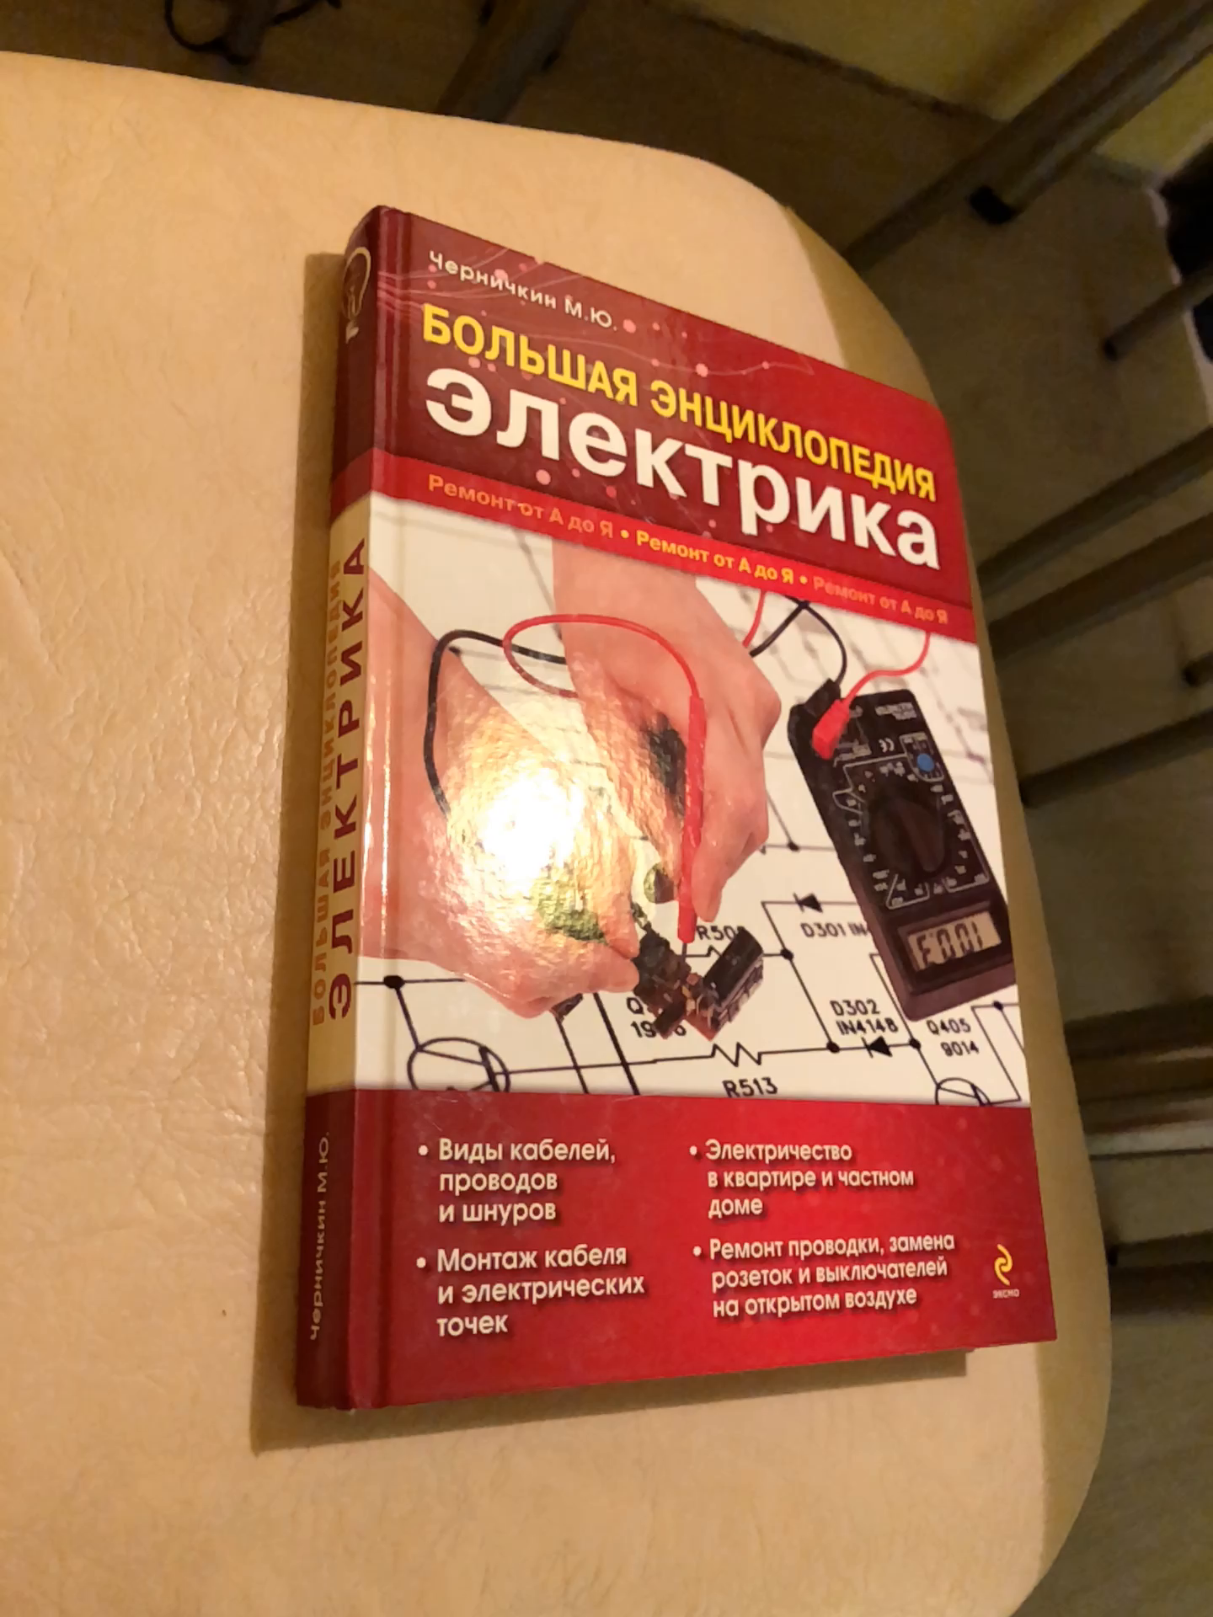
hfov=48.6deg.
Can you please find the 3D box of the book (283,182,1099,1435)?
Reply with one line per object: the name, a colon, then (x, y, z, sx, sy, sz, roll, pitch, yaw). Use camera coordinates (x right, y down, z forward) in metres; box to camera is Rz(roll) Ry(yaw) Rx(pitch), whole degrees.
book: (0.023, -0.002, 0.300, 0.173, 0.030, 0.241, 9, 70, -29)
